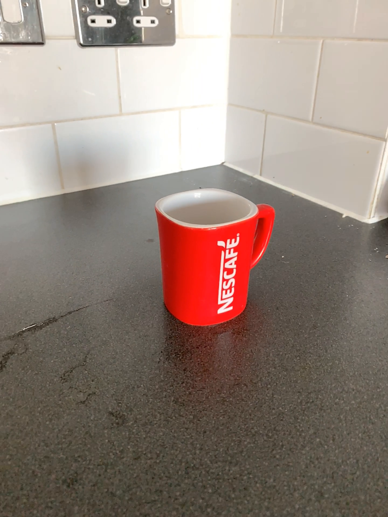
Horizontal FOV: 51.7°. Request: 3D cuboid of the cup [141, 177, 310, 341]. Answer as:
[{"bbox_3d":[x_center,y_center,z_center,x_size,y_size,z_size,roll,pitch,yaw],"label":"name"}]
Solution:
[{"bbox_3d":[0.024,-0.005,0.330,0.112,0.091,0.067,-15,32,-26],"label":"cup"}]
